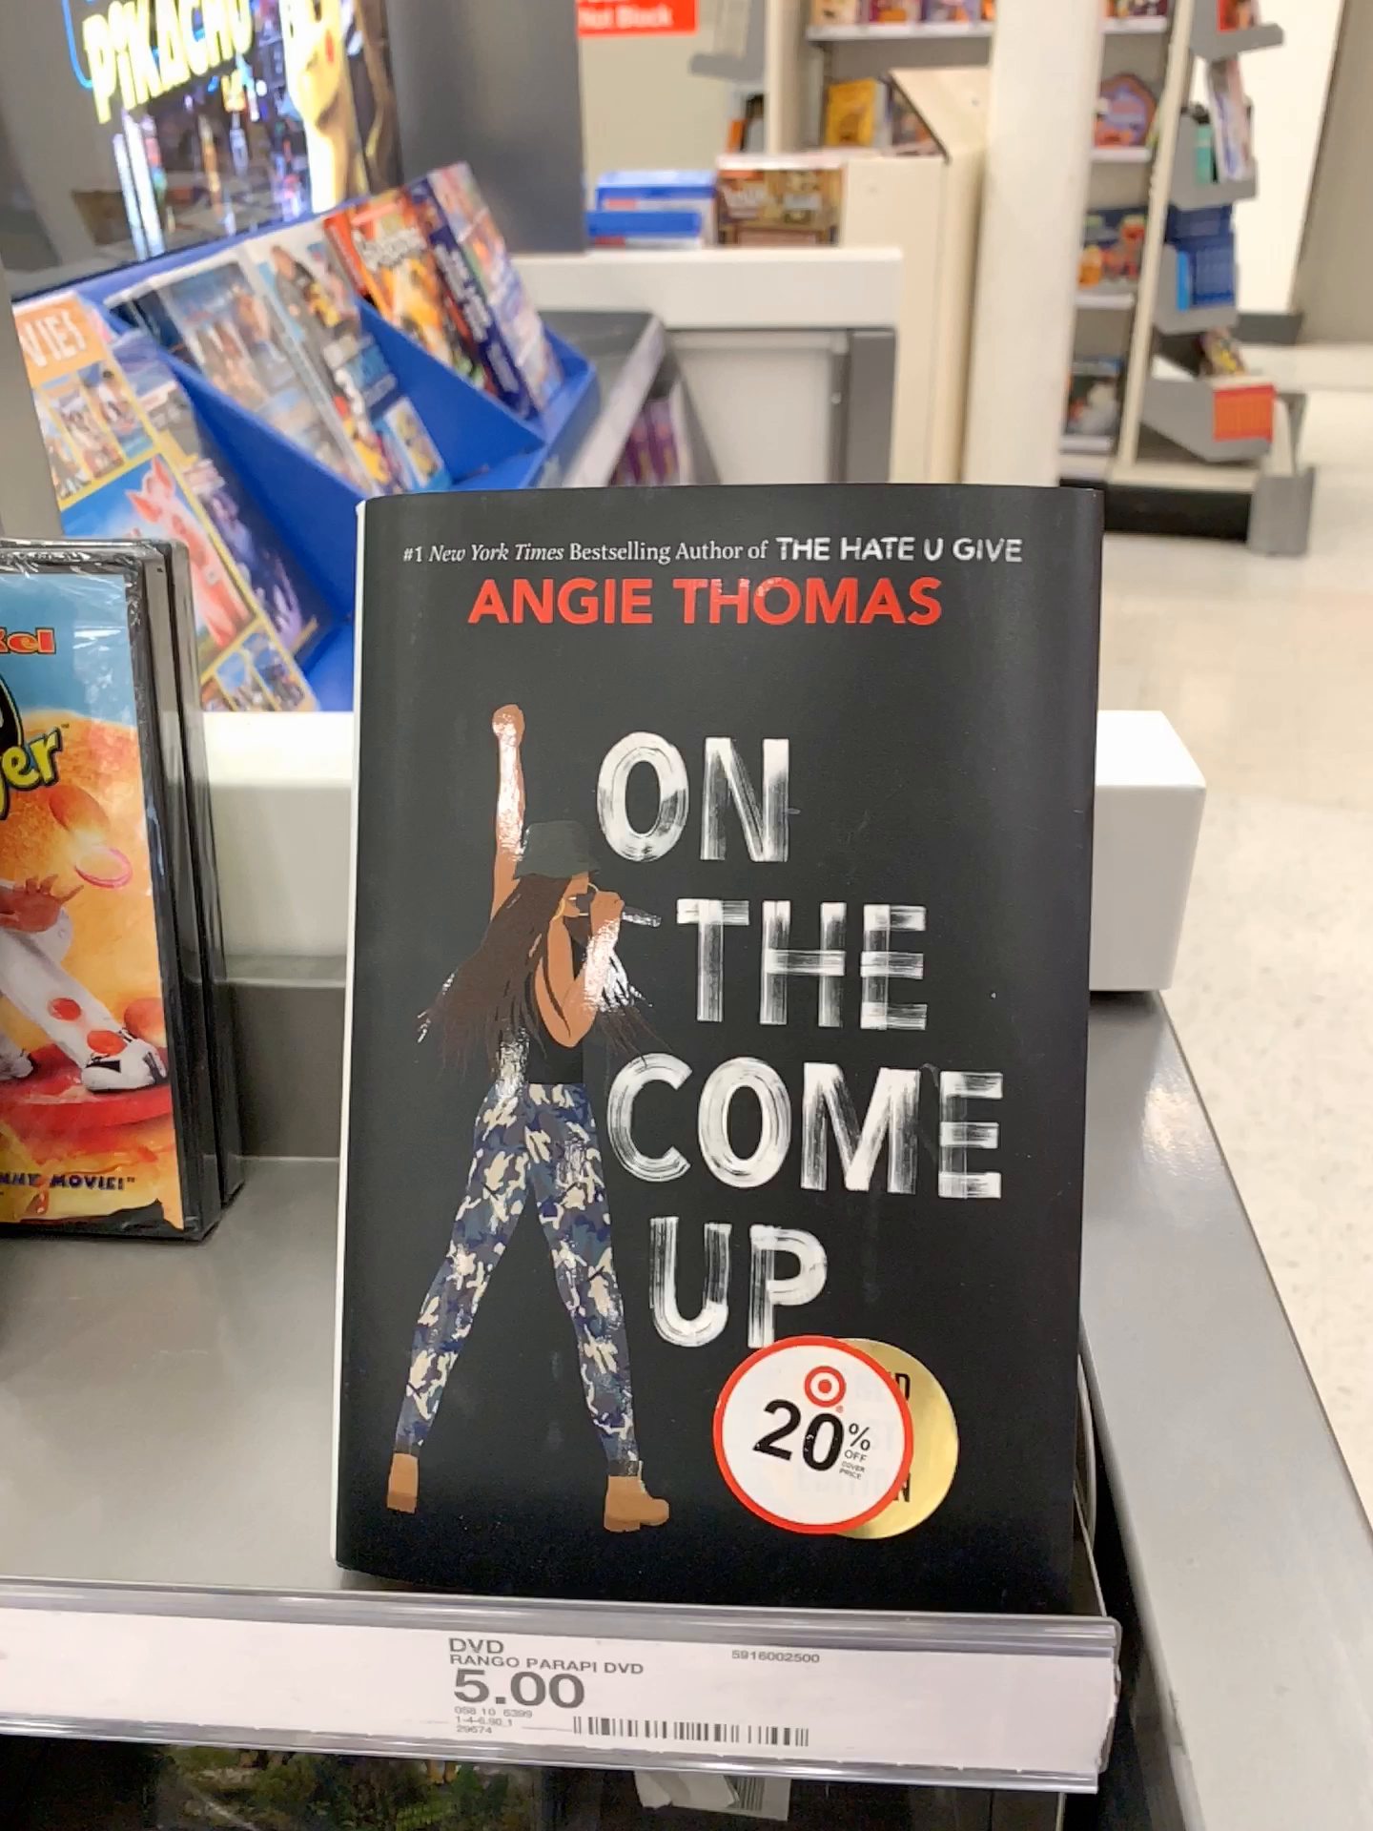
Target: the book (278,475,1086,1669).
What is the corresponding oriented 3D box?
[{"bbox_3d":[-0.001,0.027,0.299,0.149,0.222,0.056,2,1,5],"label":"book"}]
